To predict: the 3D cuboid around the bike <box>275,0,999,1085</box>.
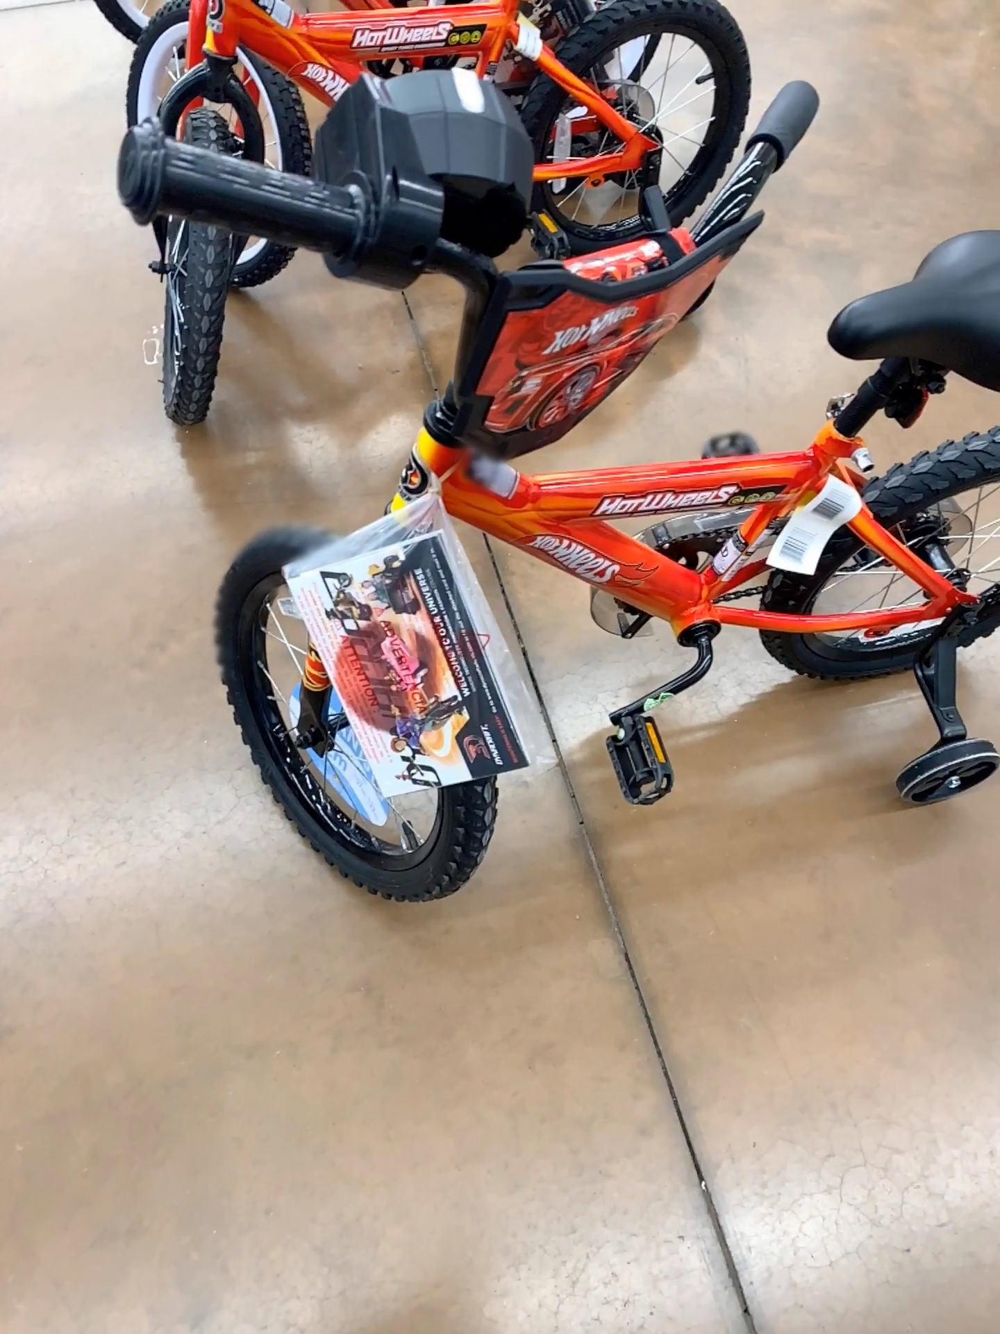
[{"bbox_3d":[0.255,-0.123,0.973,0.740,0.825,0.511,-24,61,-9],"label":"bike"}]
